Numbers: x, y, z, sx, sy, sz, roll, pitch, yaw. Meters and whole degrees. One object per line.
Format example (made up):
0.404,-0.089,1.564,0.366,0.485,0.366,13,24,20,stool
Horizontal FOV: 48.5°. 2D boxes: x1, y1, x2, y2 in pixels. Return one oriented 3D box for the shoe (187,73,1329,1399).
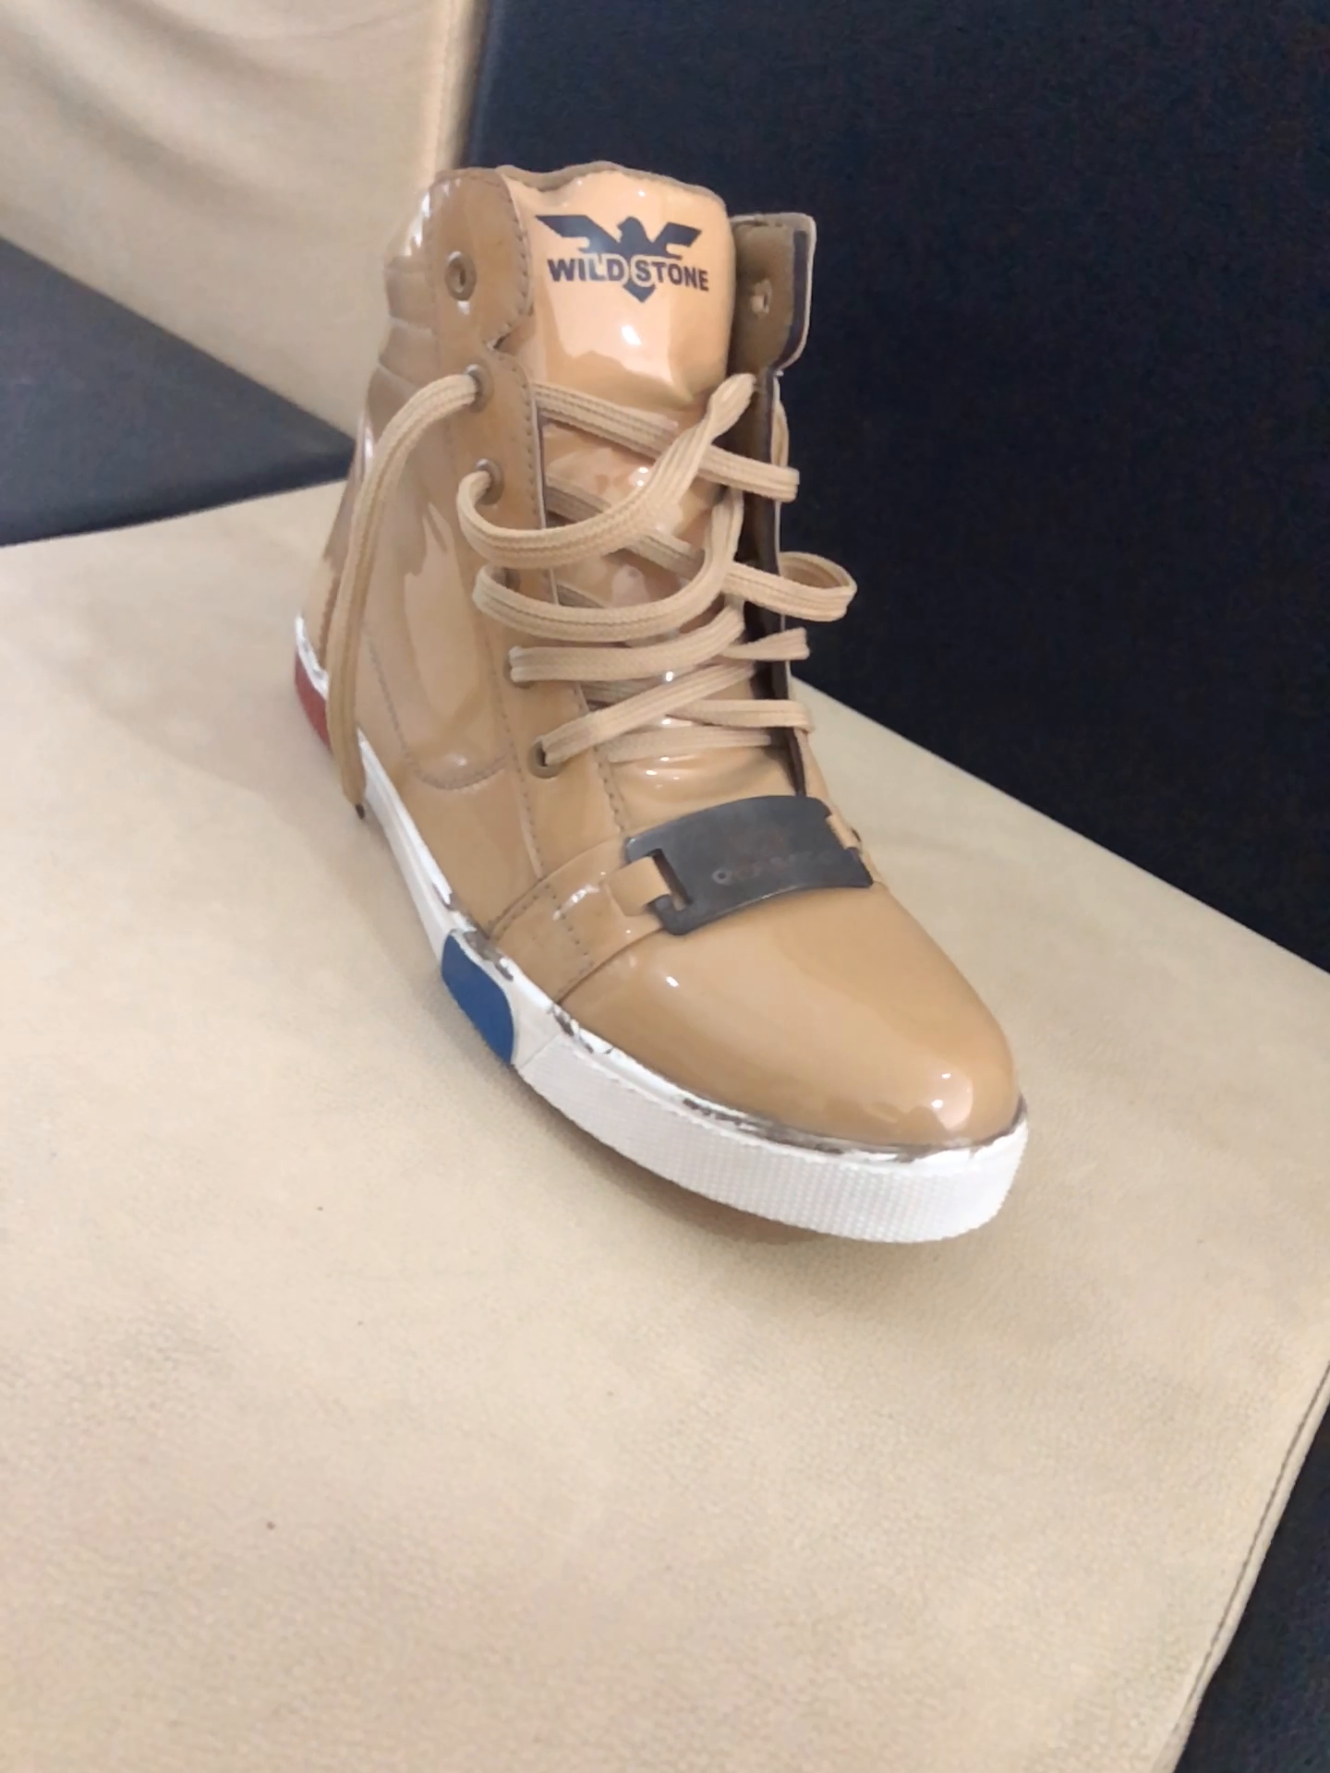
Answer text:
-0.007,-0.059,0.341,0.101,0.159,0.280,-12,43,-35,shoe
